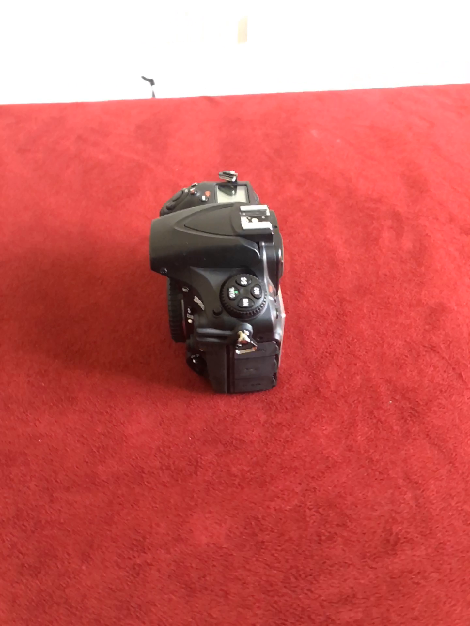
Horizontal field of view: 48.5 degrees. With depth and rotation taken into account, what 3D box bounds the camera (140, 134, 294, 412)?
[{"bbox_3d":[-0.014,-0.029,0.377,0.083,0.129,0.146,-5,49,-2],"label":"camera"}]
